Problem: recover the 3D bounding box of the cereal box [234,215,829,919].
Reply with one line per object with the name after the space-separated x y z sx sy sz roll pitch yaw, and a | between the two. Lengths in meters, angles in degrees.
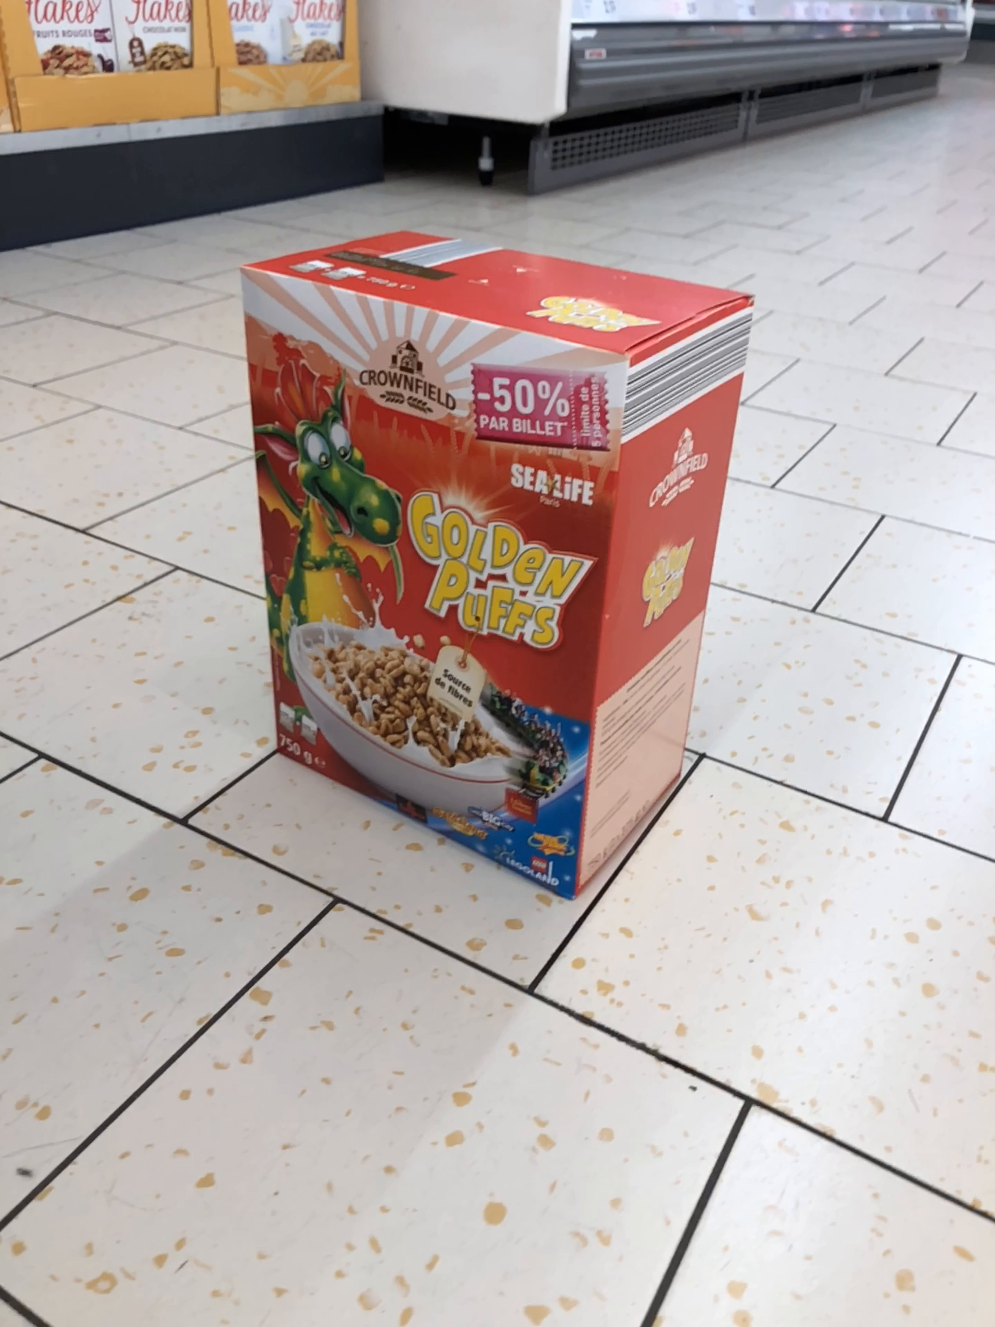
0.010 -0.056 0.512 0.200 0.248 0.141 22 36 29 | cereal box
